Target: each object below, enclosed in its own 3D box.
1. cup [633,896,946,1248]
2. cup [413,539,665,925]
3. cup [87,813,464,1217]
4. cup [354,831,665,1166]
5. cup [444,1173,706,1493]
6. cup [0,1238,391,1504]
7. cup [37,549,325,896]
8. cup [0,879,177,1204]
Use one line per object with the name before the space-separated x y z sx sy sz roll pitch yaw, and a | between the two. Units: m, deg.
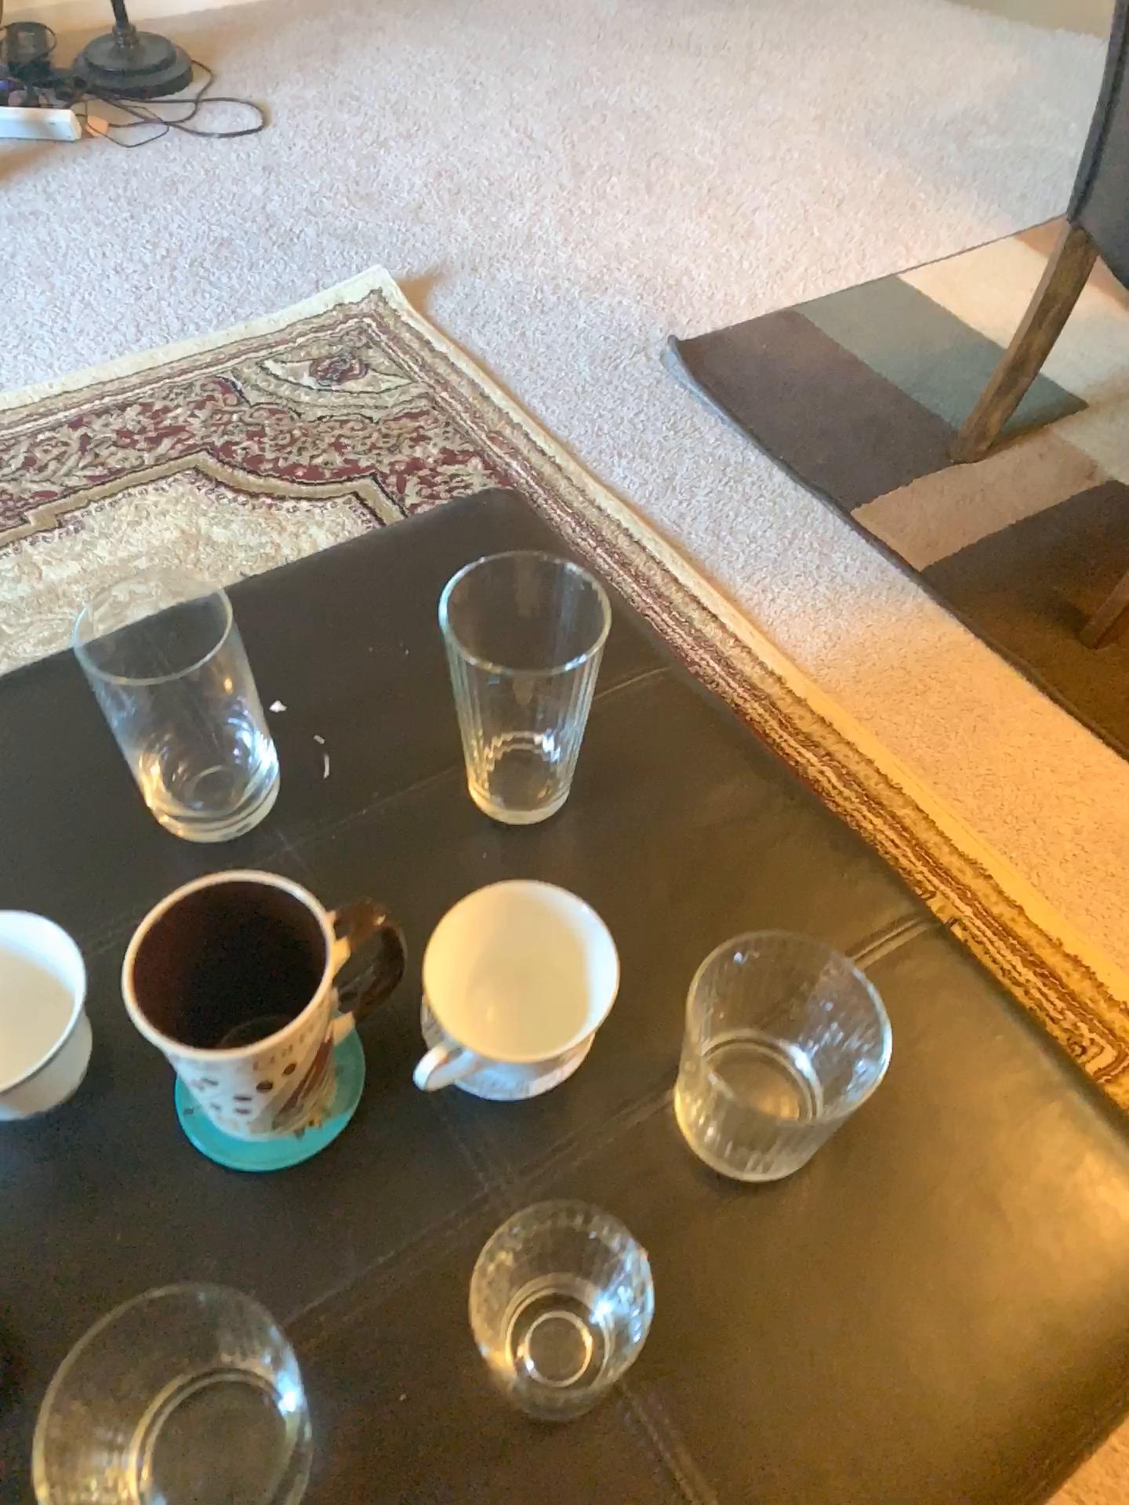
cup | 0.102 0.155 0.557 0.090 0.120 0.090 2 51 -2
cup | -0.018 -0.006 0.652 0.090 0.189 0.090 2 51 -2
cup | -0.128 0.123 0.543 0.130 0.120 0.090 -28 58 -23
cup | -0.026 0.116 0.555 0.110 0.070 0.090 -35 61 -27
cup | 0.002 0.240 0.475 0.070 0.100 0.070 2 51 -2
cup | -0.133 0.268 0.438 0.090 0.120 0.090 2 51 -2
cup | -0.200 -0.014 0.621 0.090 0.140 0.090 2 51 -2
cup | -0.263 0.135 0.542 0.110 0.080 0.090 19 53 11
